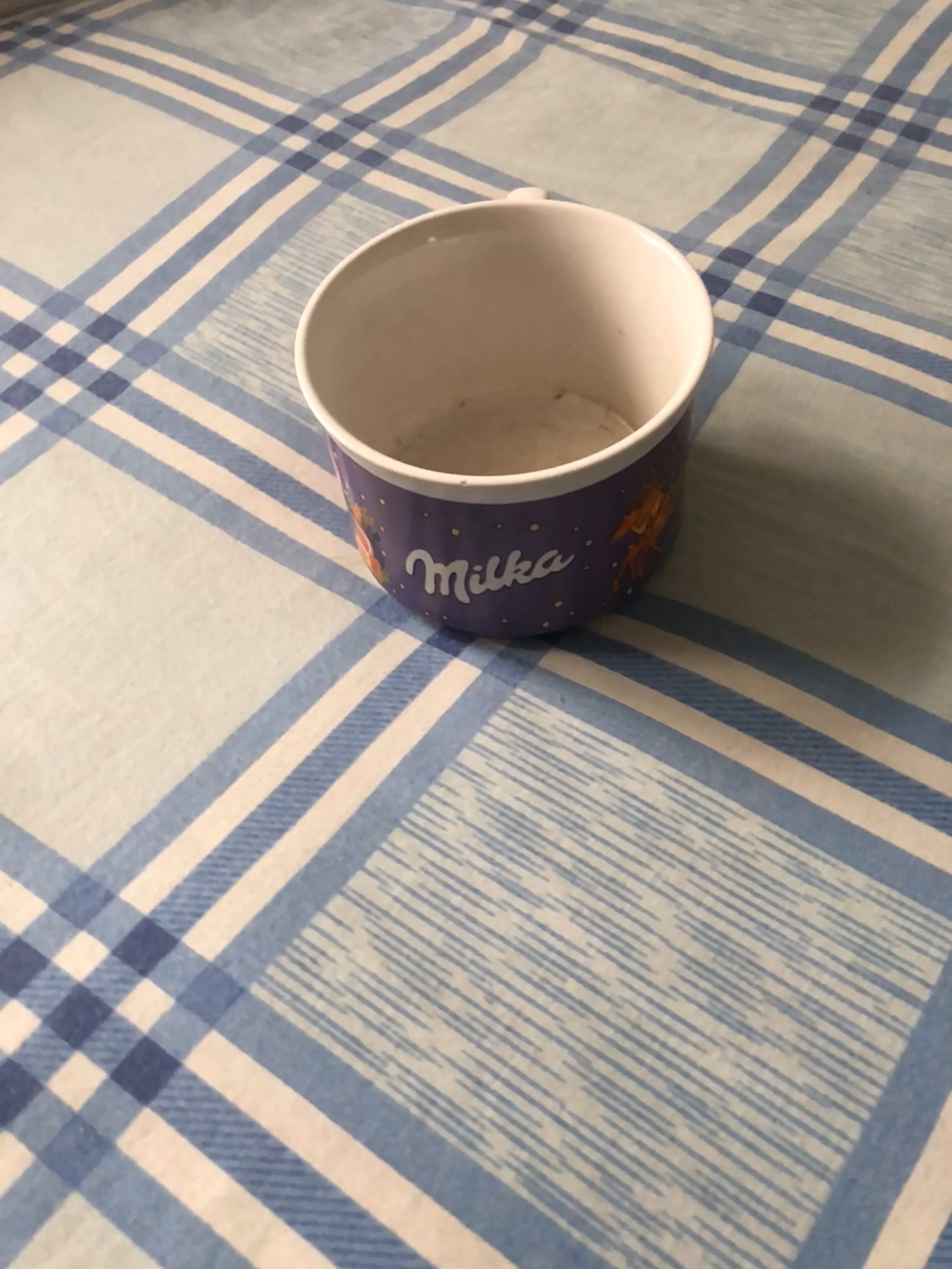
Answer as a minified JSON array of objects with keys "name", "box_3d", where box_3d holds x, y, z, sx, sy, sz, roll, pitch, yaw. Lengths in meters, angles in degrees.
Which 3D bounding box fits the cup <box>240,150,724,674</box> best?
[{"name":"cup","box_3d":[0.009,-0.066,0.290,0.104,0.063,0.131,6,53,5]}]
